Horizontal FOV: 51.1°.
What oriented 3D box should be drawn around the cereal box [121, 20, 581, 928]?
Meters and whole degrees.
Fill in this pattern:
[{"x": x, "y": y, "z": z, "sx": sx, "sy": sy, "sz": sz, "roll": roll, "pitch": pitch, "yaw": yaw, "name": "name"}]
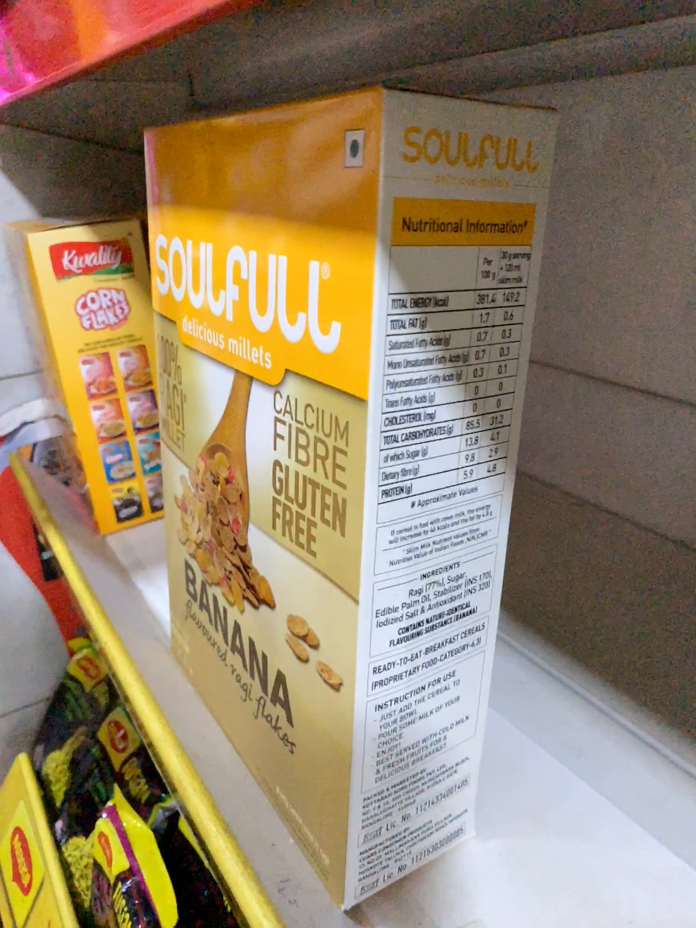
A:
[{"x": -0.019, "y": -0.003, "z": 0.252, "sx": 0.060, "sy": 0.229, "sz": 0.161, "roll": -9, "pitch": 22, "yaw": -31, "name": "cereal box"}]
